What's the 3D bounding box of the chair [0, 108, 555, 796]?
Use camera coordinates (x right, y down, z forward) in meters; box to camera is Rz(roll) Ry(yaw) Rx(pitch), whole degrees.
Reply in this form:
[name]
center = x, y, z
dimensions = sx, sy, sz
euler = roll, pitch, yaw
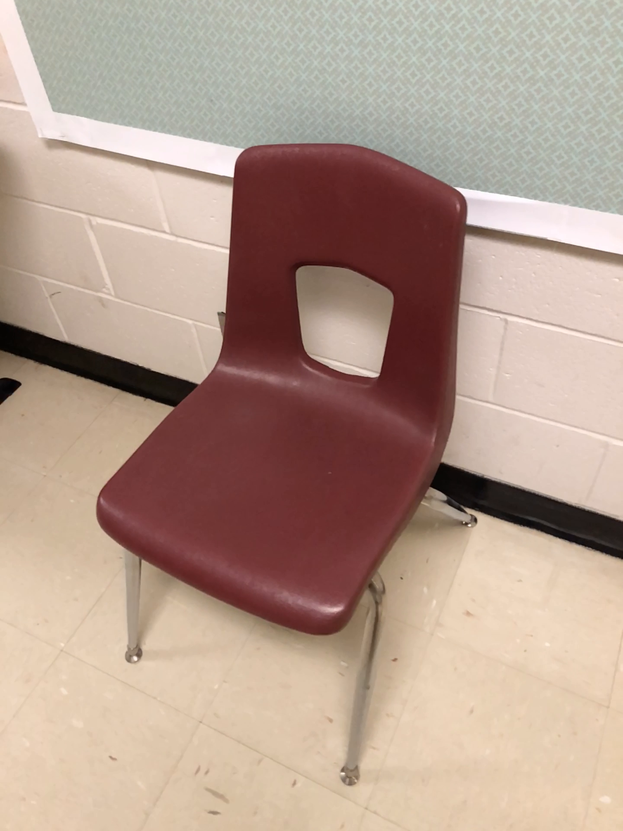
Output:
[chair]
center = -0.041, 0.059, 0.992
dimensions = 0.505, 0.707, 0.555
euler = 19, 52, 21
